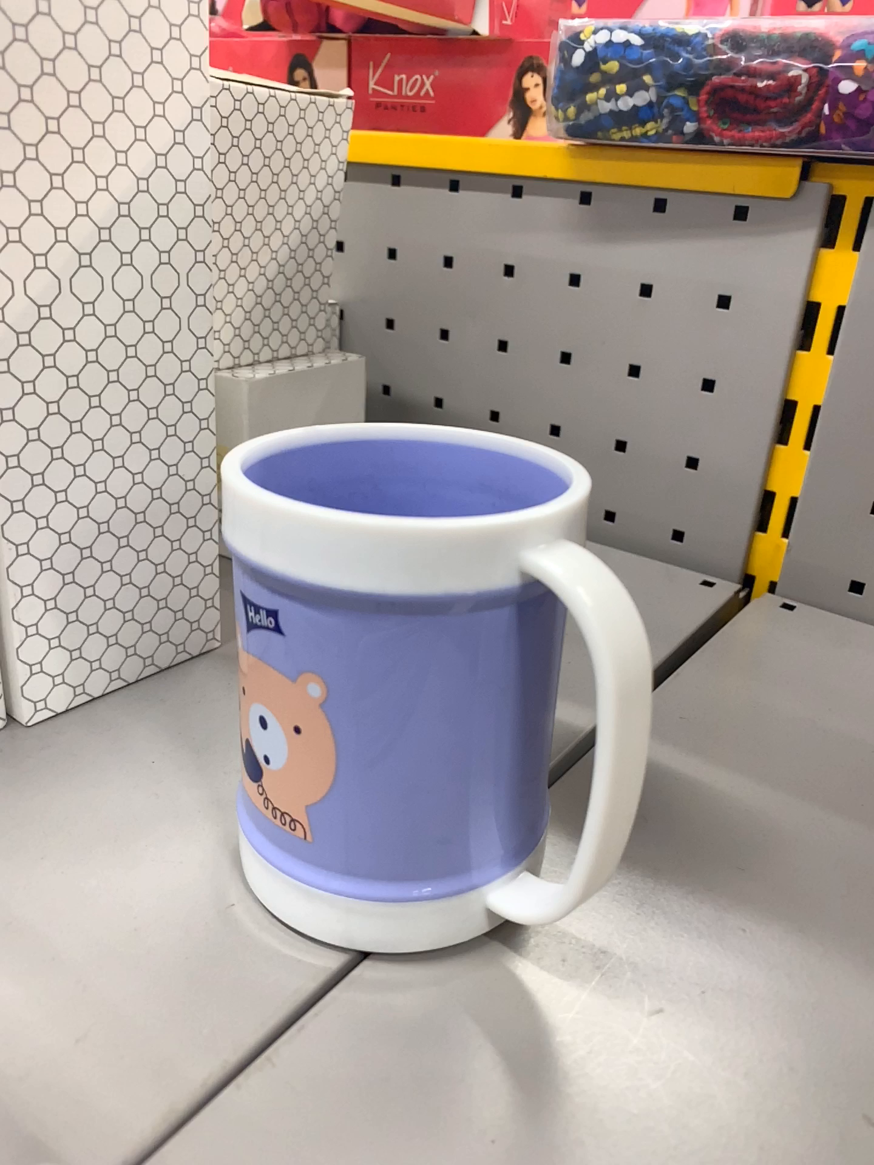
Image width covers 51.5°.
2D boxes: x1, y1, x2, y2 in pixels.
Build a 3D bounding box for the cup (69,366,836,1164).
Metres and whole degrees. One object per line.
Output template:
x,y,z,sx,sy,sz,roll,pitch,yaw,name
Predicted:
-0.003,0.019,0.196,0.120,0.100,0.090,25,31,37,cup
